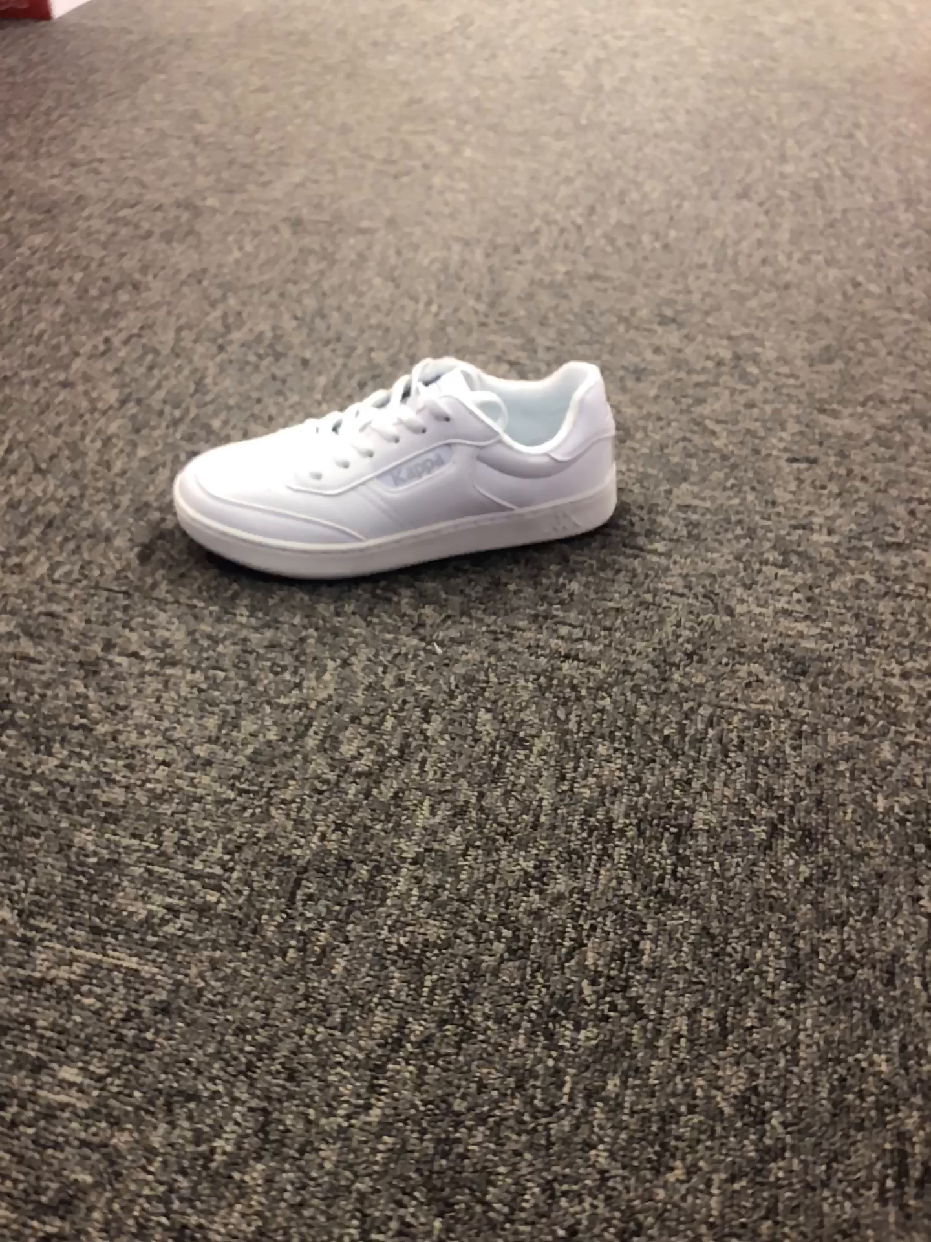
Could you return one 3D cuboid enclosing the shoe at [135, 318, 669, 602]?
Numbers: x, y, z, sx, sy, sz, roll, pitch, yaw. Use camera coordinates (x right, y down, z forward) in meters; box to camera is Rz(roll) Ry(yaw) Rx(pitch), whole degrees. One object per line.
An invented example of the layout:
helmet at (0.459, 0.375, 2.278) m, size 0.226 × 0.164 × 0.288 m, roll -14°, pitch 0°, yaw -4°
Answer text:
shoe at (-0.035, -0.091, 0.566) m, size 0.260 × 0.089 × 0.101 m, roll -6°, pitch 44°, yaw -7°
